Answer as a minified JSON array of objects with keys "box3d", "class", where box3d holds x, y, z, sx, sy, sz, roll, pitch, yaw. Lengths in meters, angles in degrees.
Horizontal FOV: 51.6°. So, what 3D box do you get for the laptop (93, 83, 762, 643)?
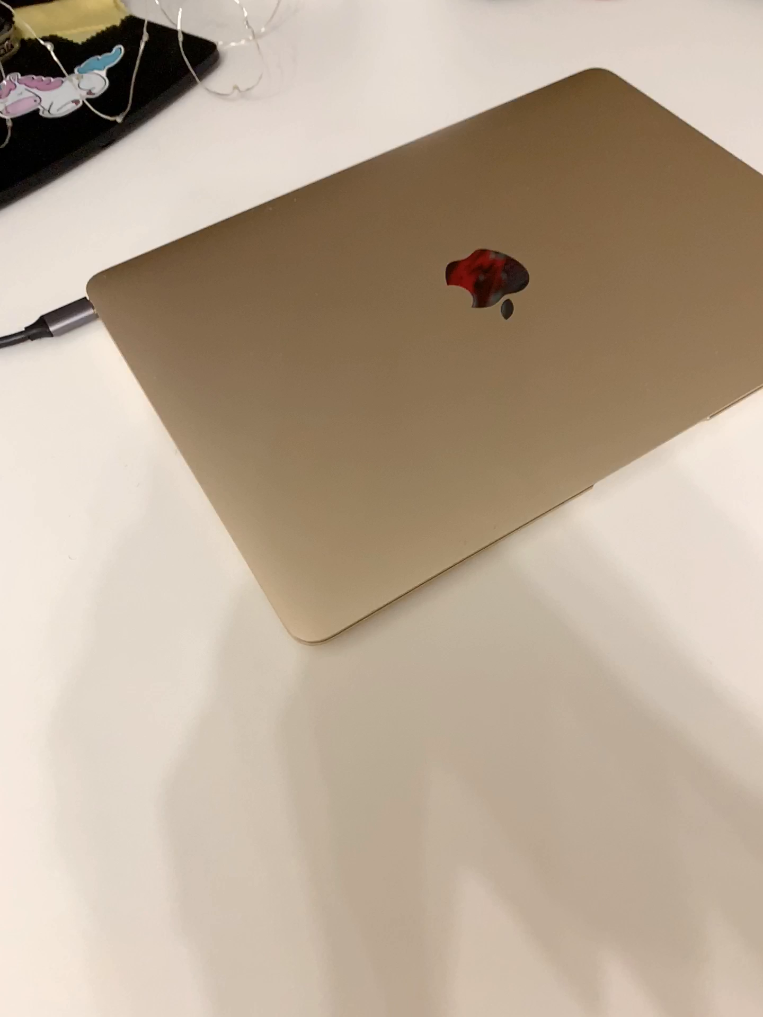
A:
[{"box3d":[0.042,-0.083,0.313,0.255,0.013,0.173,-28,63,-17],"class":"laptop"}]
